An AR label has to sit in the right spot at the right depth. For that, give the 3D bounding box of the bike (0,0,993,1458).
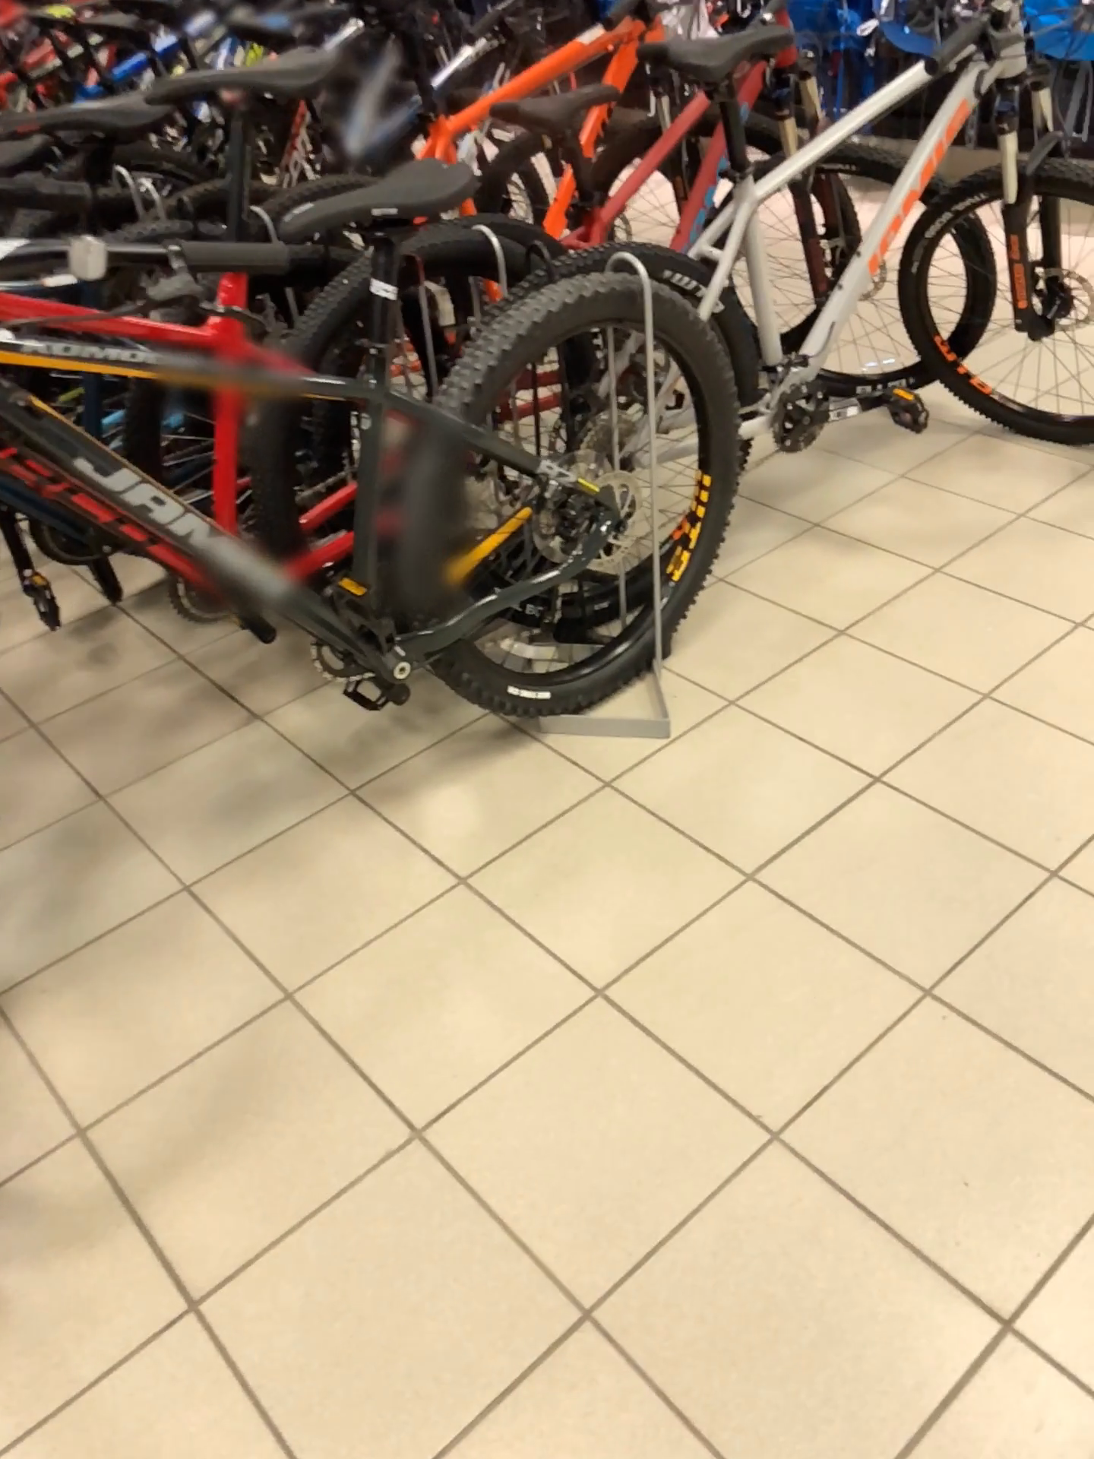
[{"bbox_3d":[-0.164,-0.232,1.497,0.809,1.165,1.547,21,46,32],"label":"bike"}]
